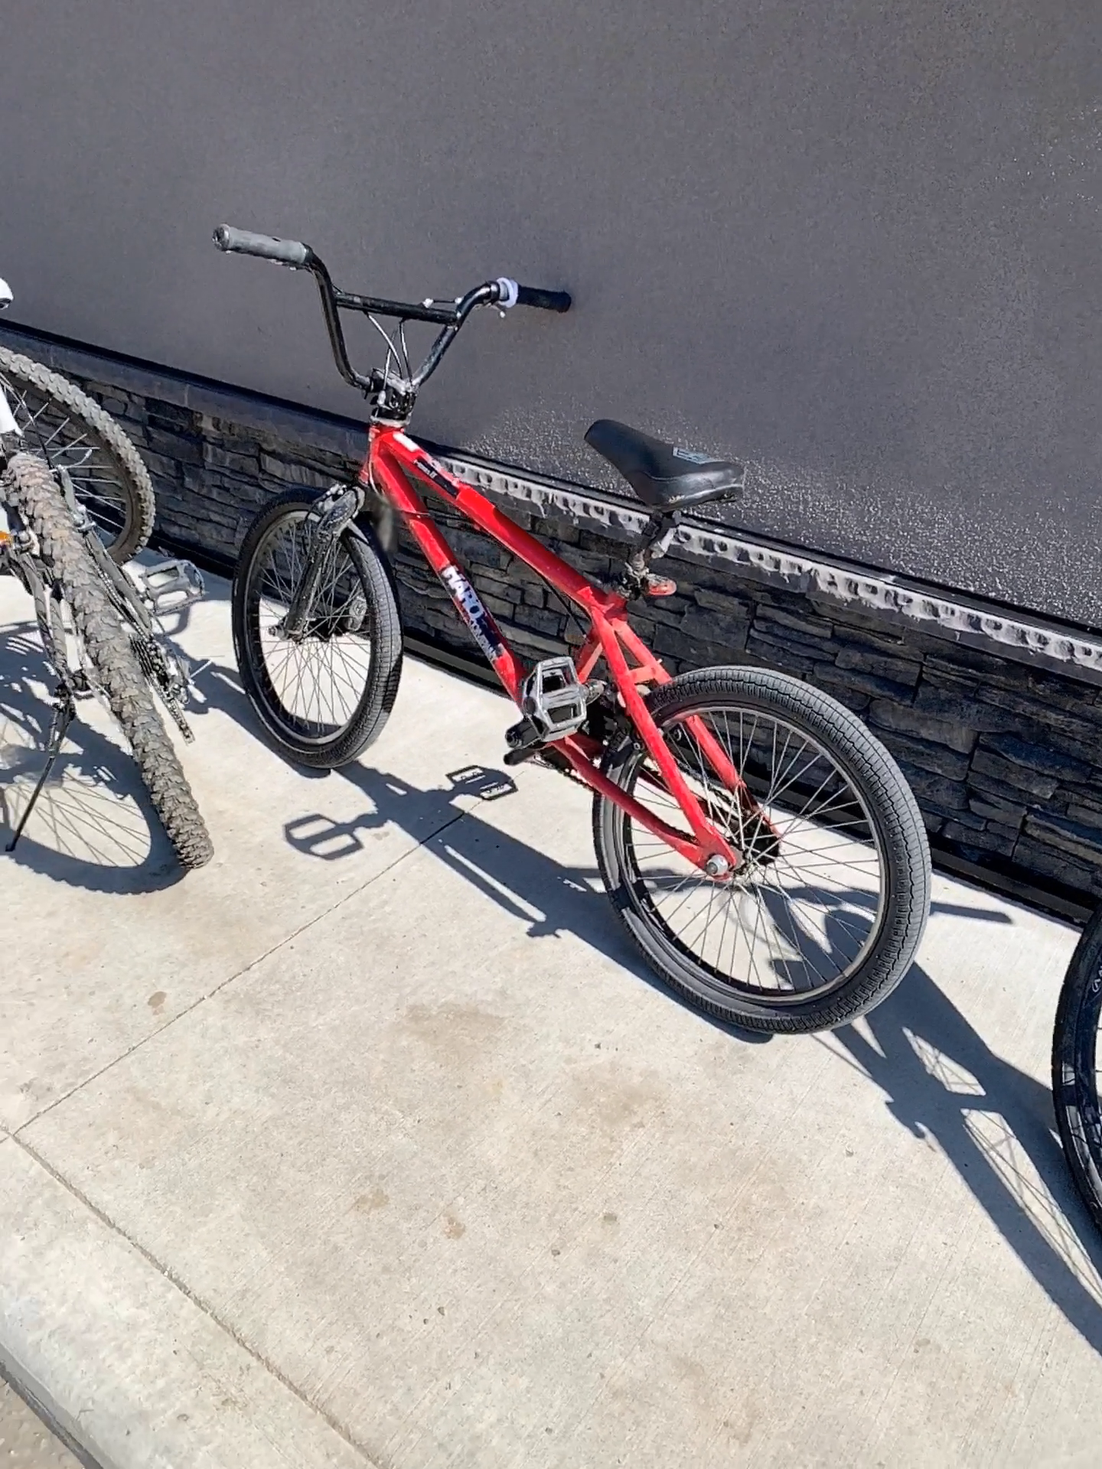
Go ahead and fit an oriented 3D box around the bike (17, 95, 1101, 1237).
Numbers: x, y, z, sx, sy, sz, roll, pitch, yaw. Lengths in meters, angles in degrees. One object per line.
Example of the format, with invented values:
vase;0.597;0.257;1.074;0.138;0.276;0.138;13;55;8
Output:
bike;0.018;-0.271;1.615;1.315;0.908;0.776;30;39;31
